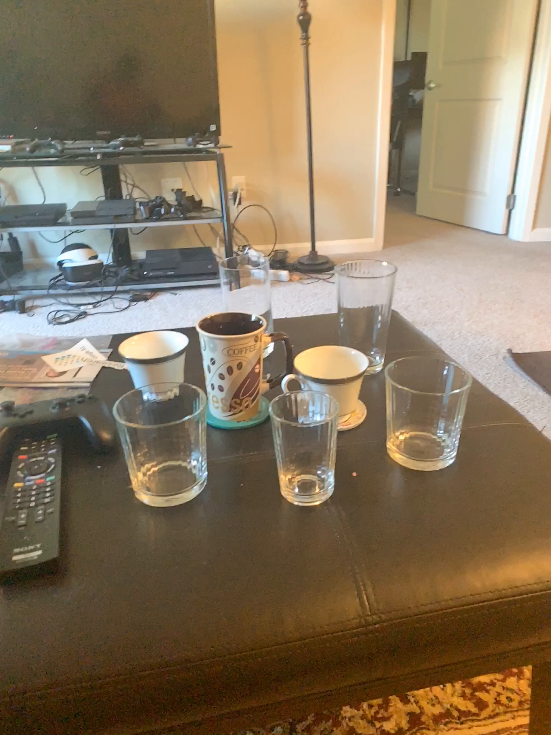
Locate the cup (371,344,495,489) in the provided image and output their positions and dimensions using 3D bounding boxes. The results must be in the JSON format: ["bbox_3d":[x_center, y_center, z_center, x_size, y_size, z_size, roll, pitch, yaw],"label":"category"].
[{"bbox_3d":[0.170,0.052,0.629,0.090,0.119,0.091,-1,25,1],"label":"cup"}]

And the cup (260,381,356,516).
[{"bbox_3d":[0.032,0.079,0.566,0.070,0.099,0.070,-1,25,1],"label":"cup"}]

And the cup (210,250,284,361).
[{"bbox_3d":[-0.044,-0.098,0.867,0.090,0.139,0.091,-1,25,1],"label":"cup"}]

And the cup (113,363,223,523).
[{"bbox_3d":[-0.110,0.074,0.577,0.090,0.119,0.091,-1,25,1],"label":"cup"}]

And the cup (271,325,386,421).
[{"bbox_3d":[0.062,0.003,0.693,0.110,0.070,0.091,-10,26,-17],"label":"cup"}]

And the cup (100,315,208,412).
[{"bbox_3d":[-0.164,-0.010,0.767,0.110,0.080,0.090,22,33,40],"label":"cup"}]

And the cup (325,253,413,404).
[{"bbox_3d":[0.130,-0.058,0.819,0.090,0.189,0.091,-1,25,1],"label":"cup"}]

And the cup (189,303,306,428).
[{"bbox_3d":[-0.037,-0.005,0.720,0.130,0.119,0.091,-7,25,-11],"label":"cup"}]
